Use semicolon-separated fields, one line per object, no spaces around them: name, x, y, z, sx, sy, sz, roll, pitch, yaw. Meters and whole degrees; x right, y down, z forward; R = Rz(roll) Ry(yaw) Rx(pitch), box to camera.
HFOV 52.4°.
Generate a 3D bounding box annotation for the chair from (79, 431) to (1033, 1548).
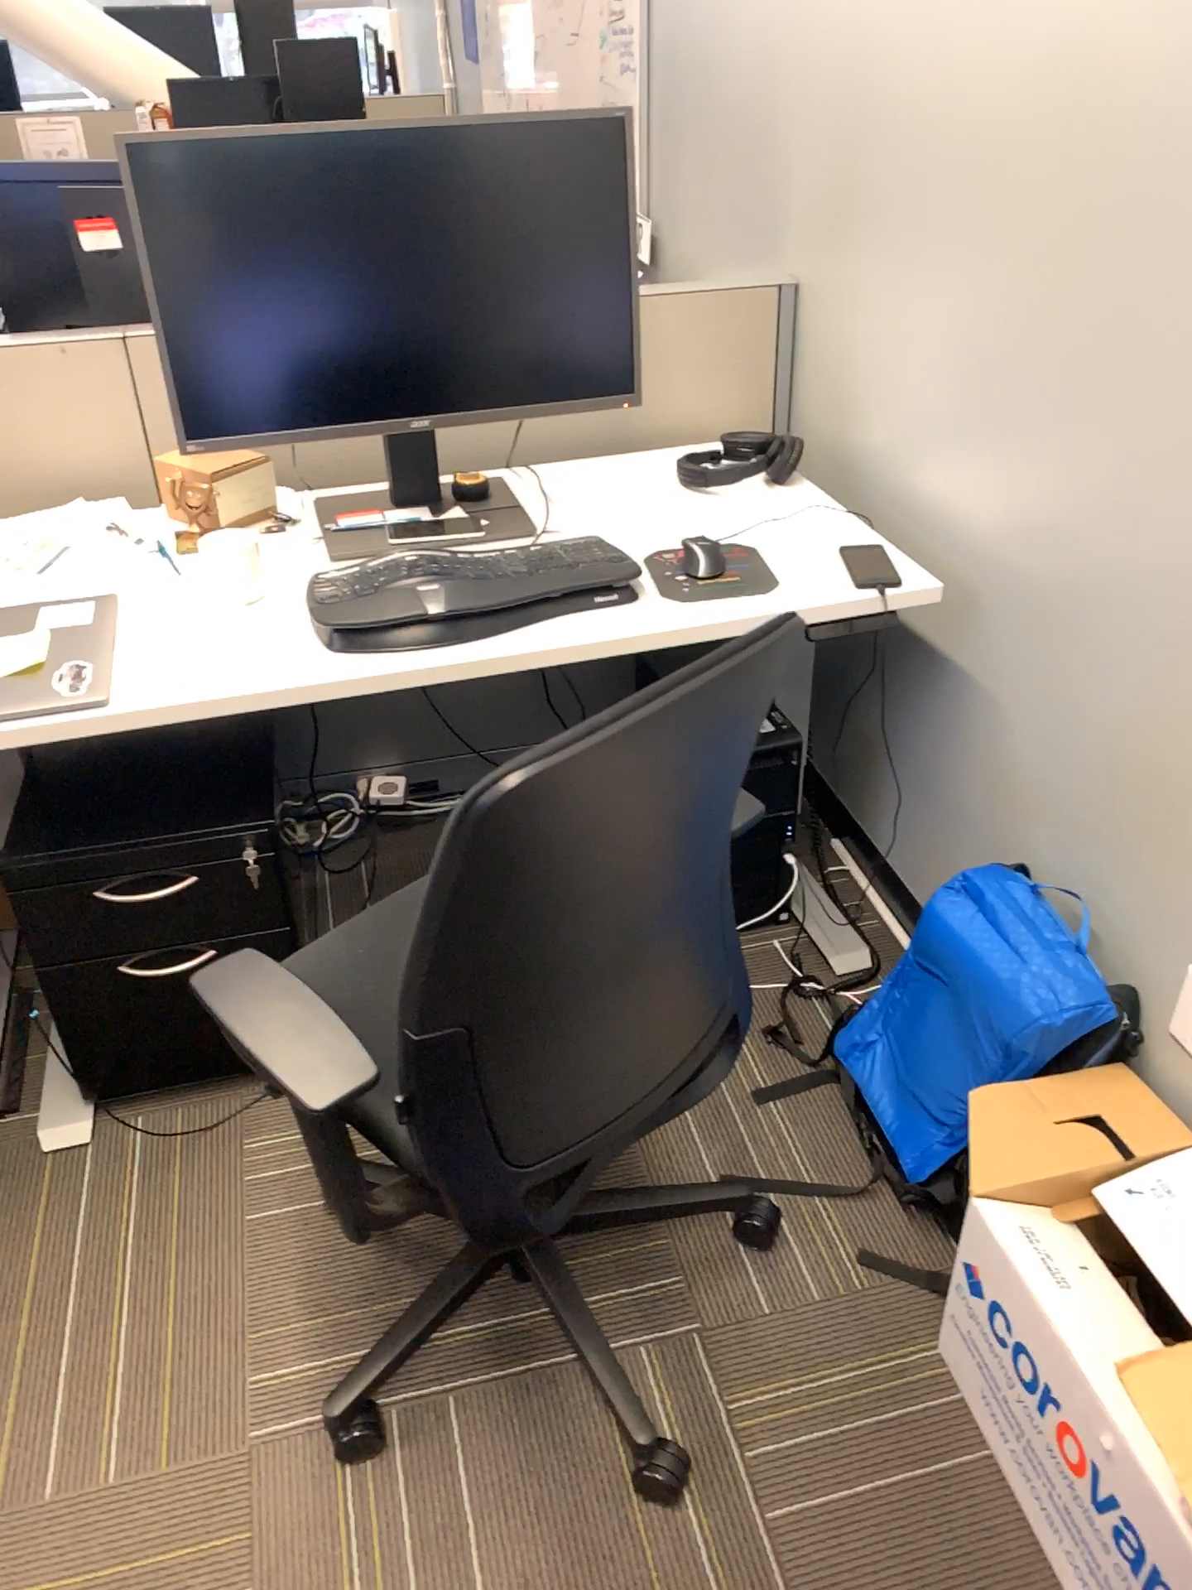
chair;0.005;0.170;1.540;0.612;0.945;0.831;24;41;33
